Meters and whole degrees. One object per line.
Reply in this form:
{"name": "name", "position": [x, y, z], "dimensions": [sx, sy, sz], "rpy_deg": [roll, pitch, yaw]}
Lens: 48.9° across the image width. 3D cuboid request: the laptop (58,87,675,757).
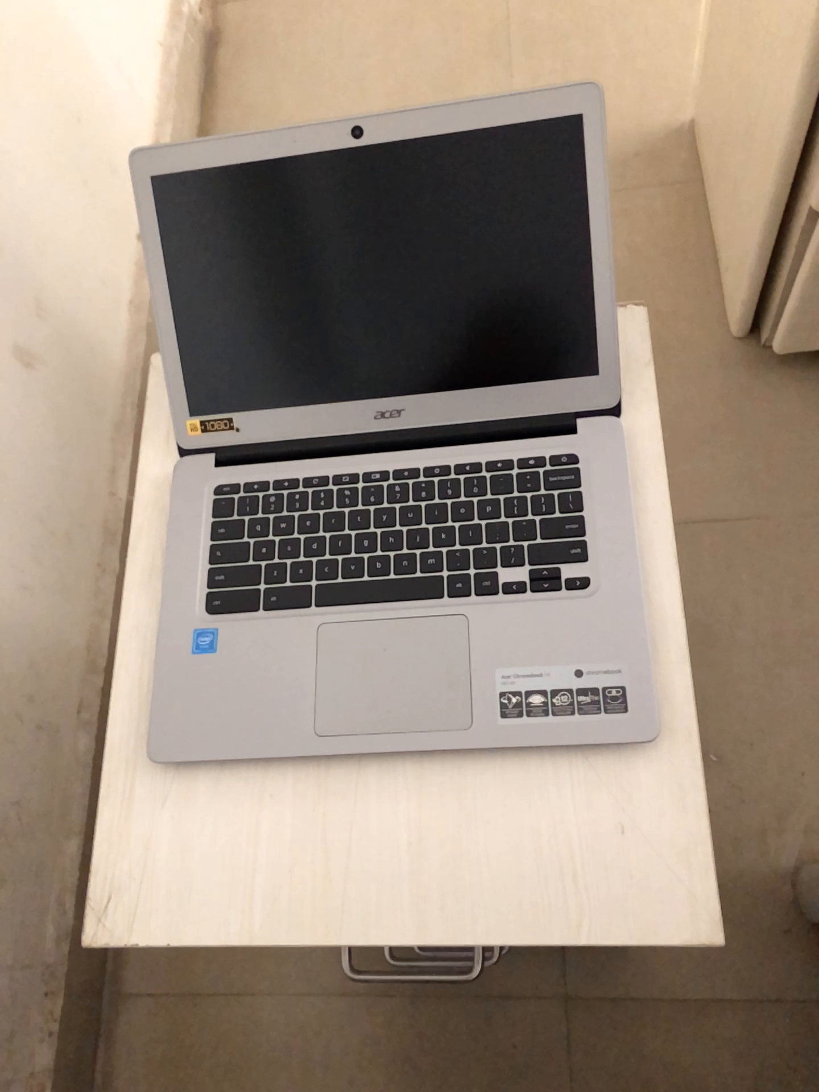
{"name": "laptop", "position": [-0.023, -0.081, 0.607], "dimensions": [0.332, 0.126, 0.408], "rpy_deg": [-4, 68, 9]}
